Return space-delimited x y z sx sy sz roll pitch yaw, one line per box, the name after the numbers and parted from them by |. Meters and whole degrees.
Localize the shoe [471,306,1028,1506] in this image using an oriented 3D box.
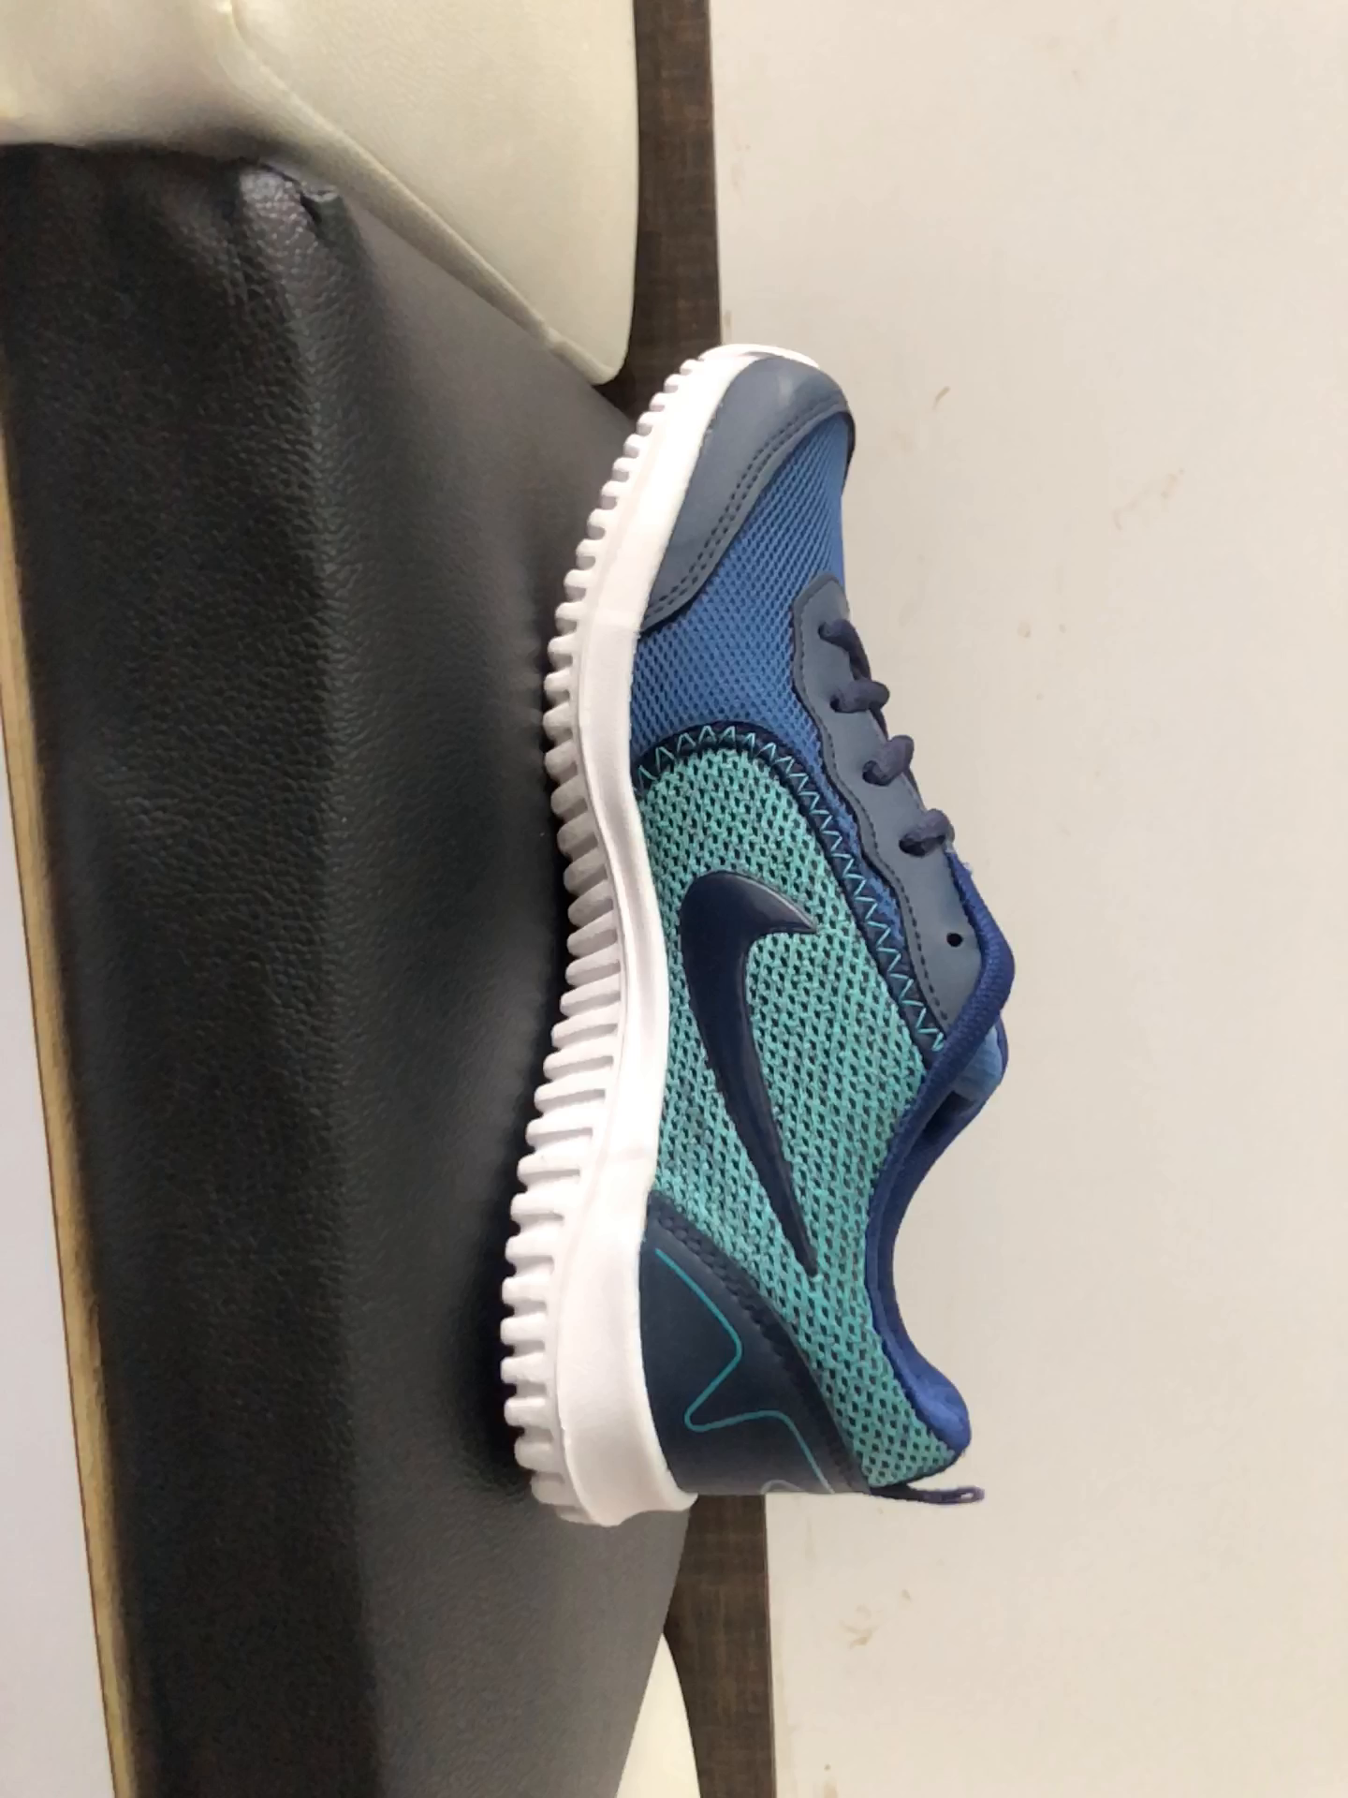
0.027 0.007 0.372 0.130 0.100 0.260 66 24 -68 | shoe
